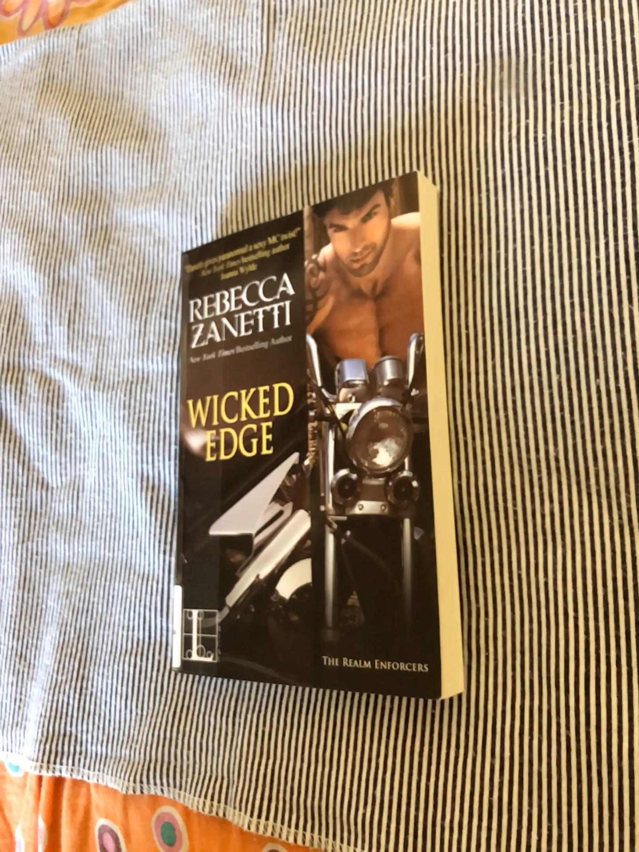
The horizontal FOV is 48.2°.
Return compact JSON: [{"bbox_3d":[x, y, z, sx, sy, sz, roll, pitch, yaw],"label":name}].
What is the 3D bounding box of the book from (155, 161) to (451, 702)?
[{"bbox_3d":[-0.014,0.005,0.331,0.137,0.030,0.215,-7,79,33],"label":"book"}]
